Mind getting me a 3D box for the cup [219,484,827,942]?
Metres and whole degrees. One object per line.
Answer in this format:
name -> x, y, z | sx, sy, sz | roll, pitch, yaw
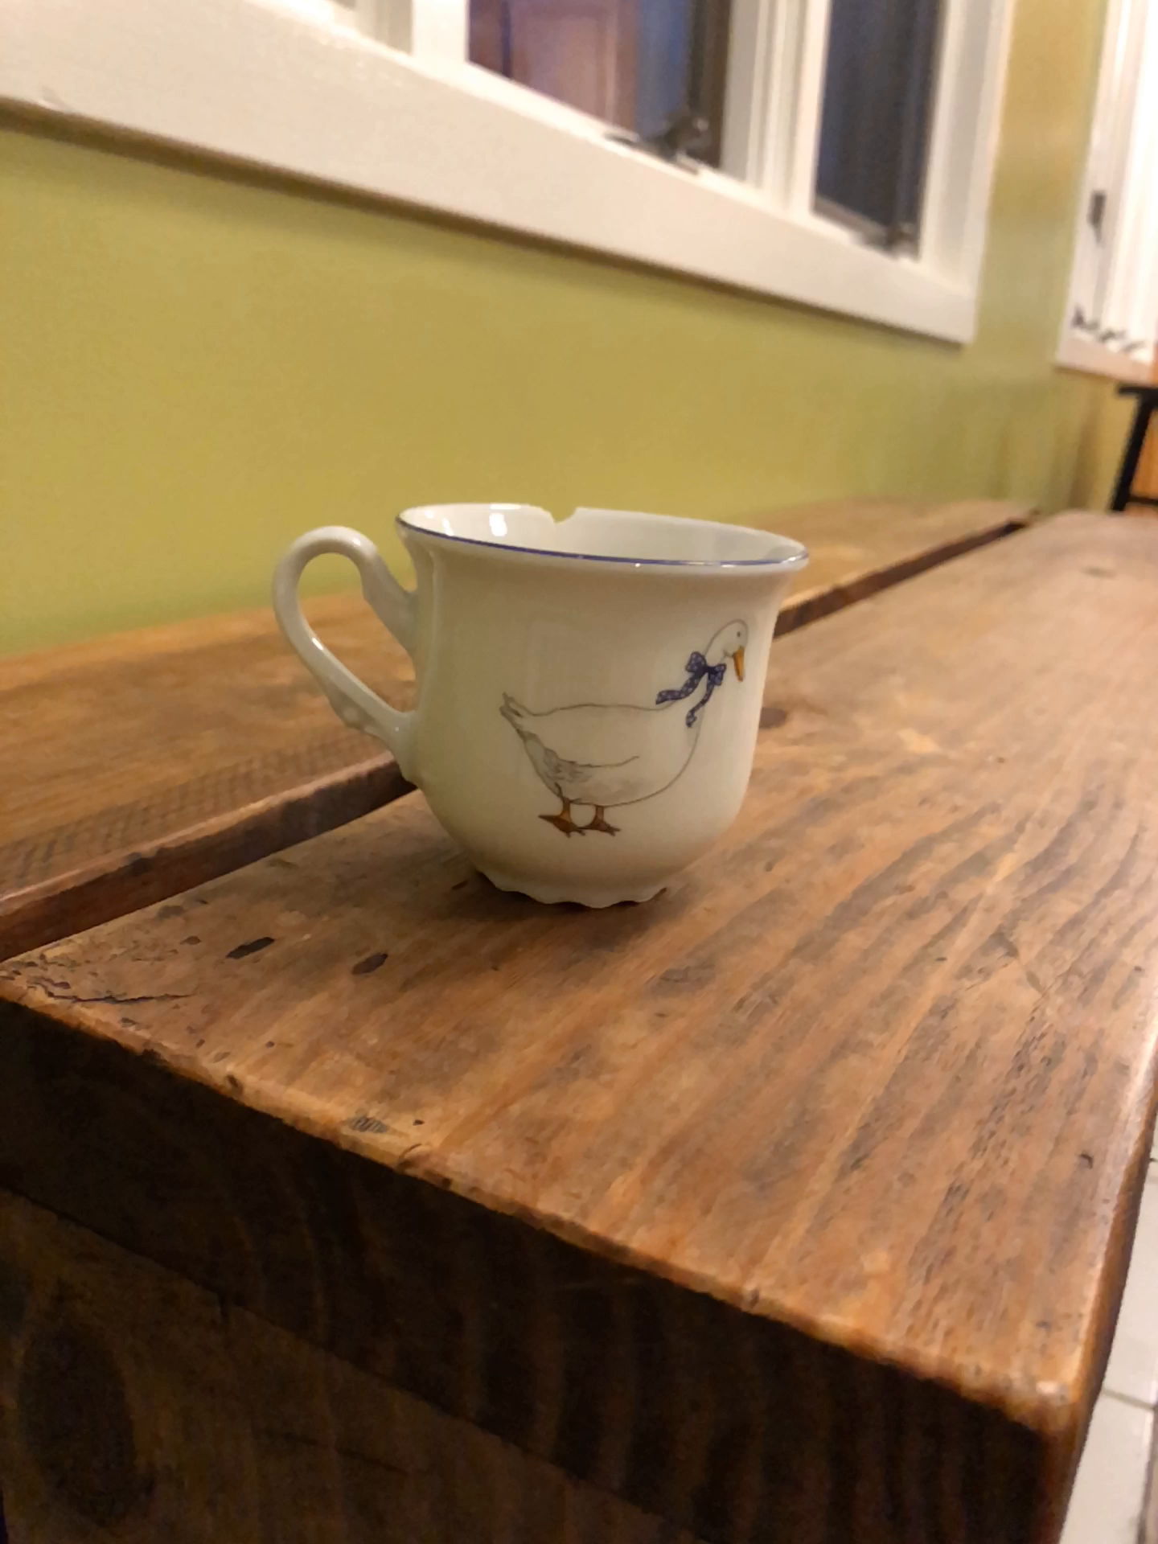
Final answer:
cup -> -0.007, -0.019, 0.277 | 0.107, 0.067, 0.091 | 6, 18, 6
